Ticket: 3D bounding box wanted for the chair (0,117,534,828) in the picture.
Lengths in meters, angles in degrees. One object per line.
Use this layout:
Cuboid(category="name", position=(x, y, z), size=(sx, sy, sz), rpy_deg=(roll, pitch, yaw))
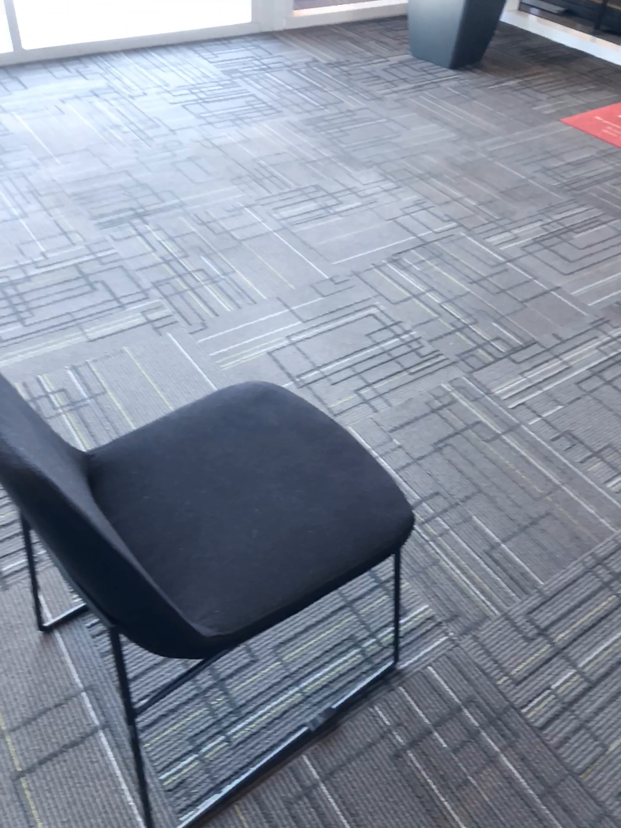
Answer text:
Cuboid(category="chair", position=(-0.185, 0.109, 0.982), size=(0.551, 0.767, 0.562), rpy_deg=(-25, 51, -28))
